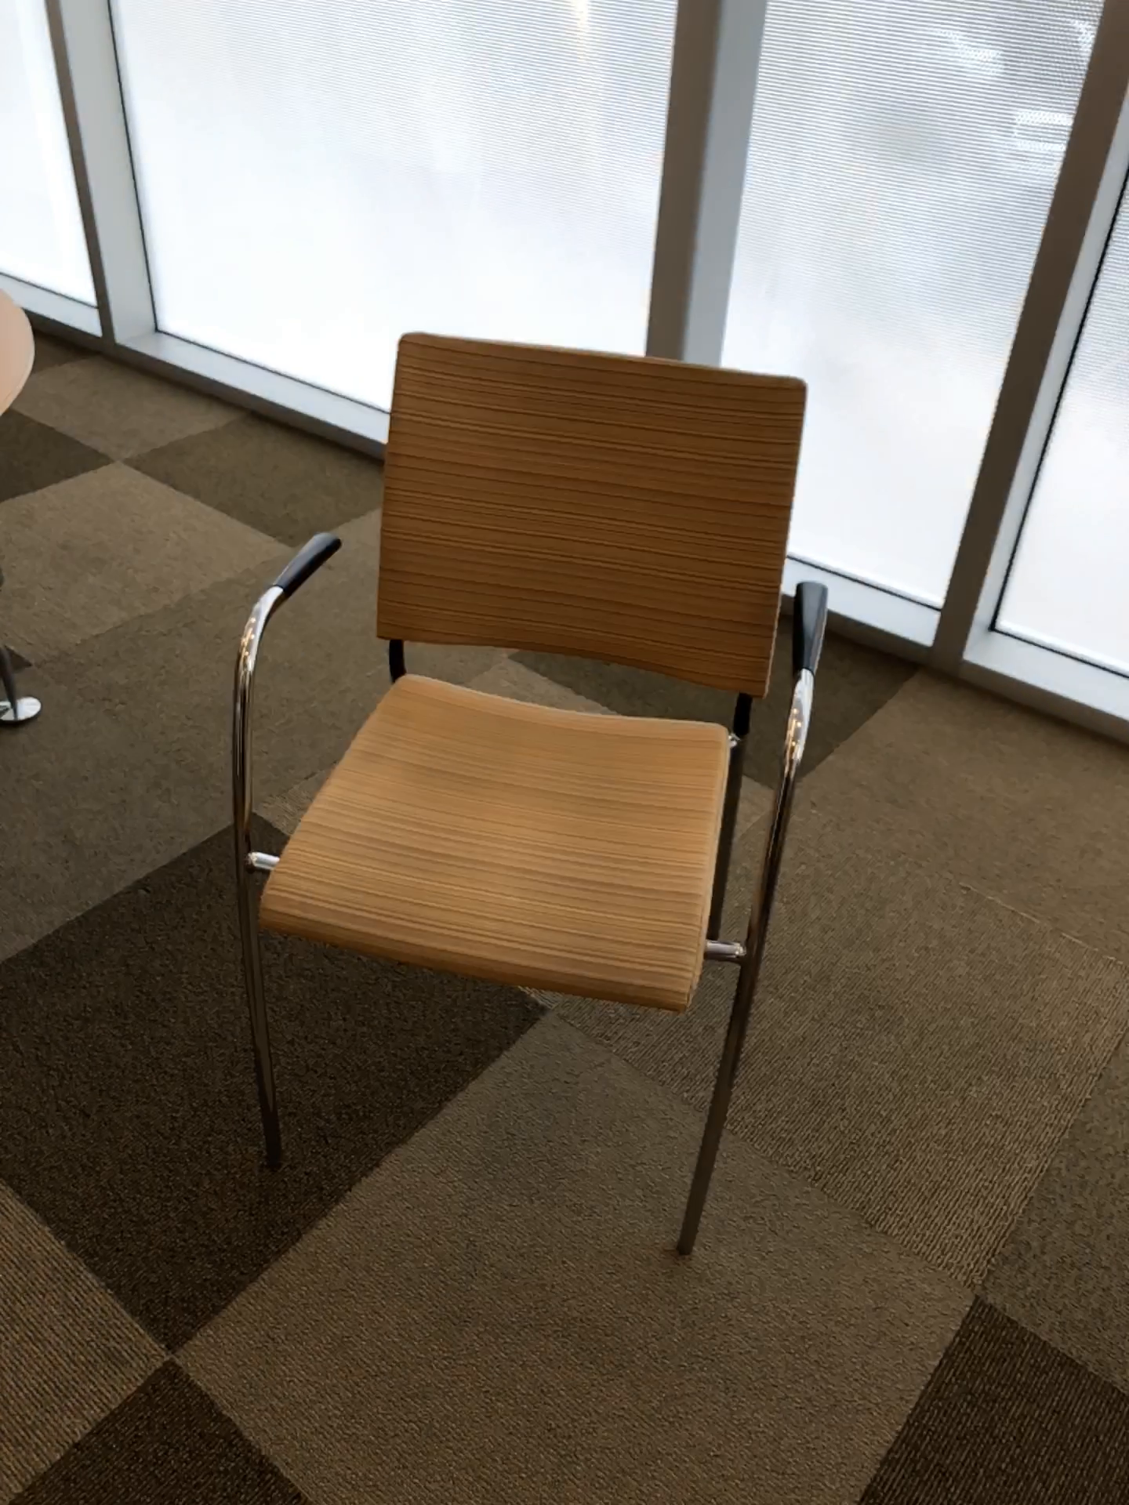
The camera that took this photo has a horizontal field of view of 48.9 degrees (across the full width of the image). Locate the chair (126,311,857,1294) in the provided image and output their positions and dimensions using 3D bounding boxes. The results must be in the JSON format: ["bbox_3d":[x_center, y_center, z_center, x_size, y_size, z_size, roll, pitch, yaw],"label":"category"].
[{"bbox_3d":[-0.028,0.047,1.311,0.515,0.796,0.548,9,37,7],"label":"chair"}]
